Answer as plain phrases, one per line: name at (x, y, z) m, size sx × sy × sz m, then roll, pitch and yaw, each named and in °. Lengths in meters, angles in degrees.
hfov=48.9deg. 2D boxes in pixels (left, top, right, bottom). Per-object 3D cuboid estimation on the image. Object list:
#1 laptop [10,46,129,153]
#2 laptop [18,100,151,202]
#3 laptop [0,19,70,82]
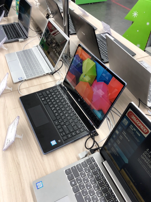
laptop at (-0.042, -0.039, 0.675) m, size 0.326 × 0.194 × 0.327 m, roll -19°, pitch 47°, yaw -22°
laptop at (0.094, 0.232, 0.357) m, size 0.329 × 0.218 × 0.353 m, roll -16°, pitch 46°, yaw -19°
laptop at (-0.238, -0.309, 0.966) m, size 0.323 × 0.171 × 0.293 m, roll -19°, pitch 49°, yaw -20°
